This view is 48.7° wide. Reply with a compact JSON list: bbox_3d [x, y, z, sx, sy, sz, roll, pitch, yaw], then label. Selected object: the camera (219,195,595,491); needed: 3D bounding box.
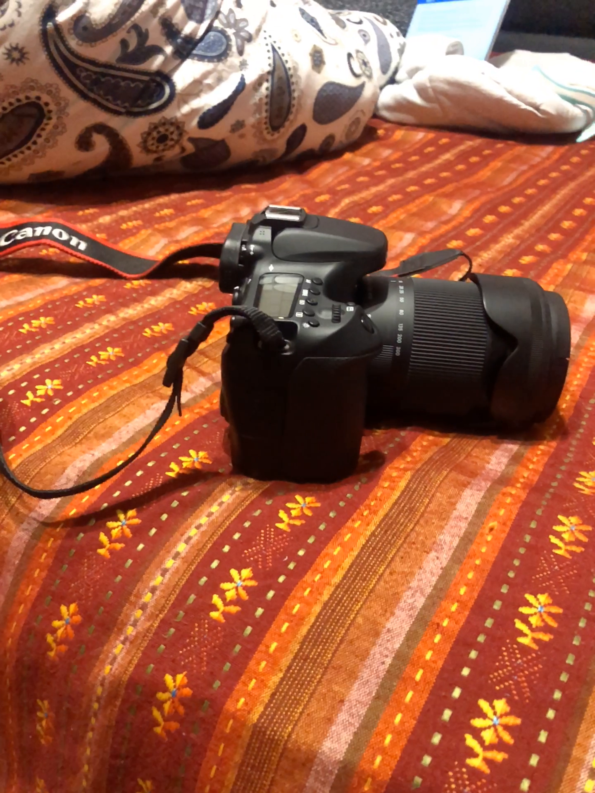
[{"bbox_3d":[0.051,-0.034,0.340,0.170,0.099,0.131,0,34,-2],"label":"camera"}]
